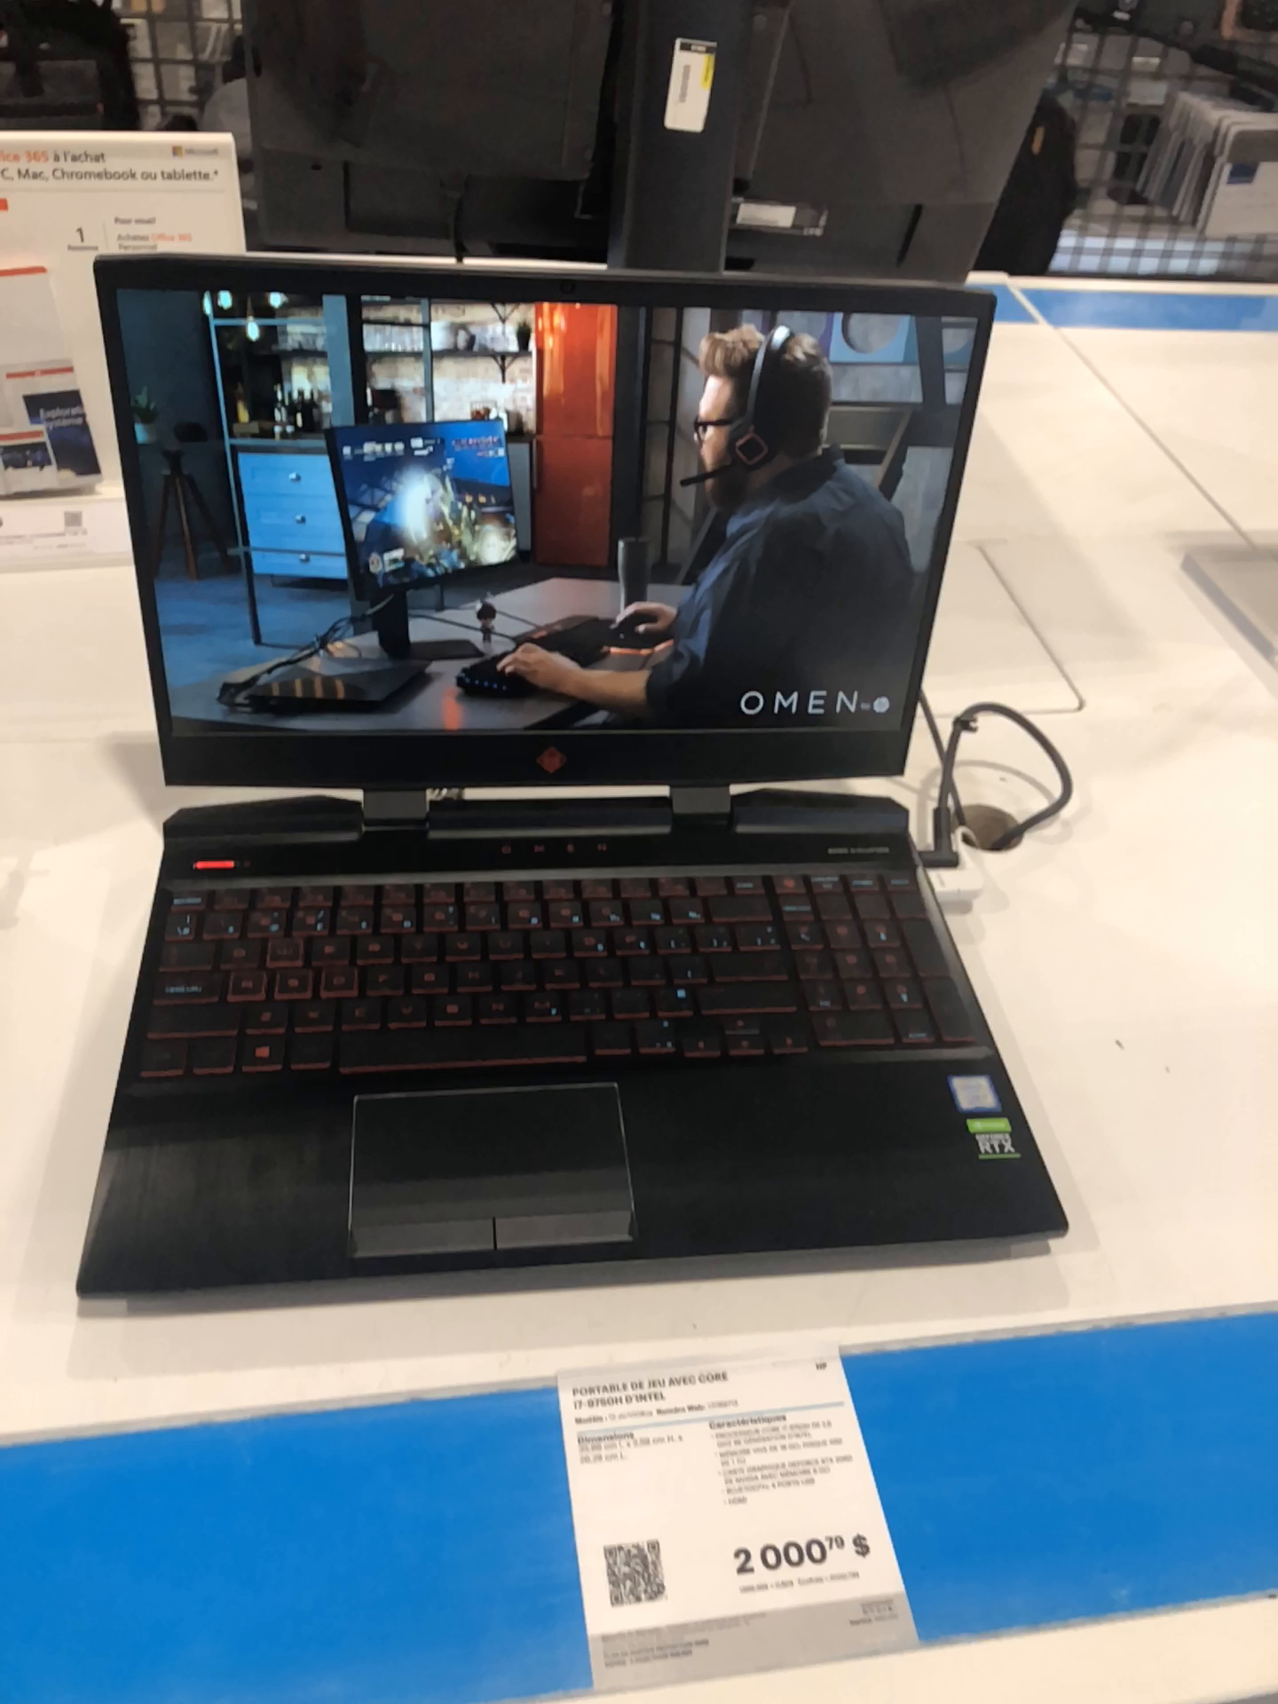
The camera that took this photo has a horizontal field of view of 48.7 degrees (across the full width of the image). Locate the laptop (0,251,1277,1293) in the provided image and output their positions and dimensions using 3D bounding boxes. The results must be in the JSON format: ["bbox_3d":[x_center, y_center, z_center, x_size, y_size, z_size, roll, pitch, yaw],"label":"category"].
[{"bbox_3d":[-0.022,-0.045,0.543,0.355,0.239,0.294,-1,43,-9],"label":"laptop"}]
